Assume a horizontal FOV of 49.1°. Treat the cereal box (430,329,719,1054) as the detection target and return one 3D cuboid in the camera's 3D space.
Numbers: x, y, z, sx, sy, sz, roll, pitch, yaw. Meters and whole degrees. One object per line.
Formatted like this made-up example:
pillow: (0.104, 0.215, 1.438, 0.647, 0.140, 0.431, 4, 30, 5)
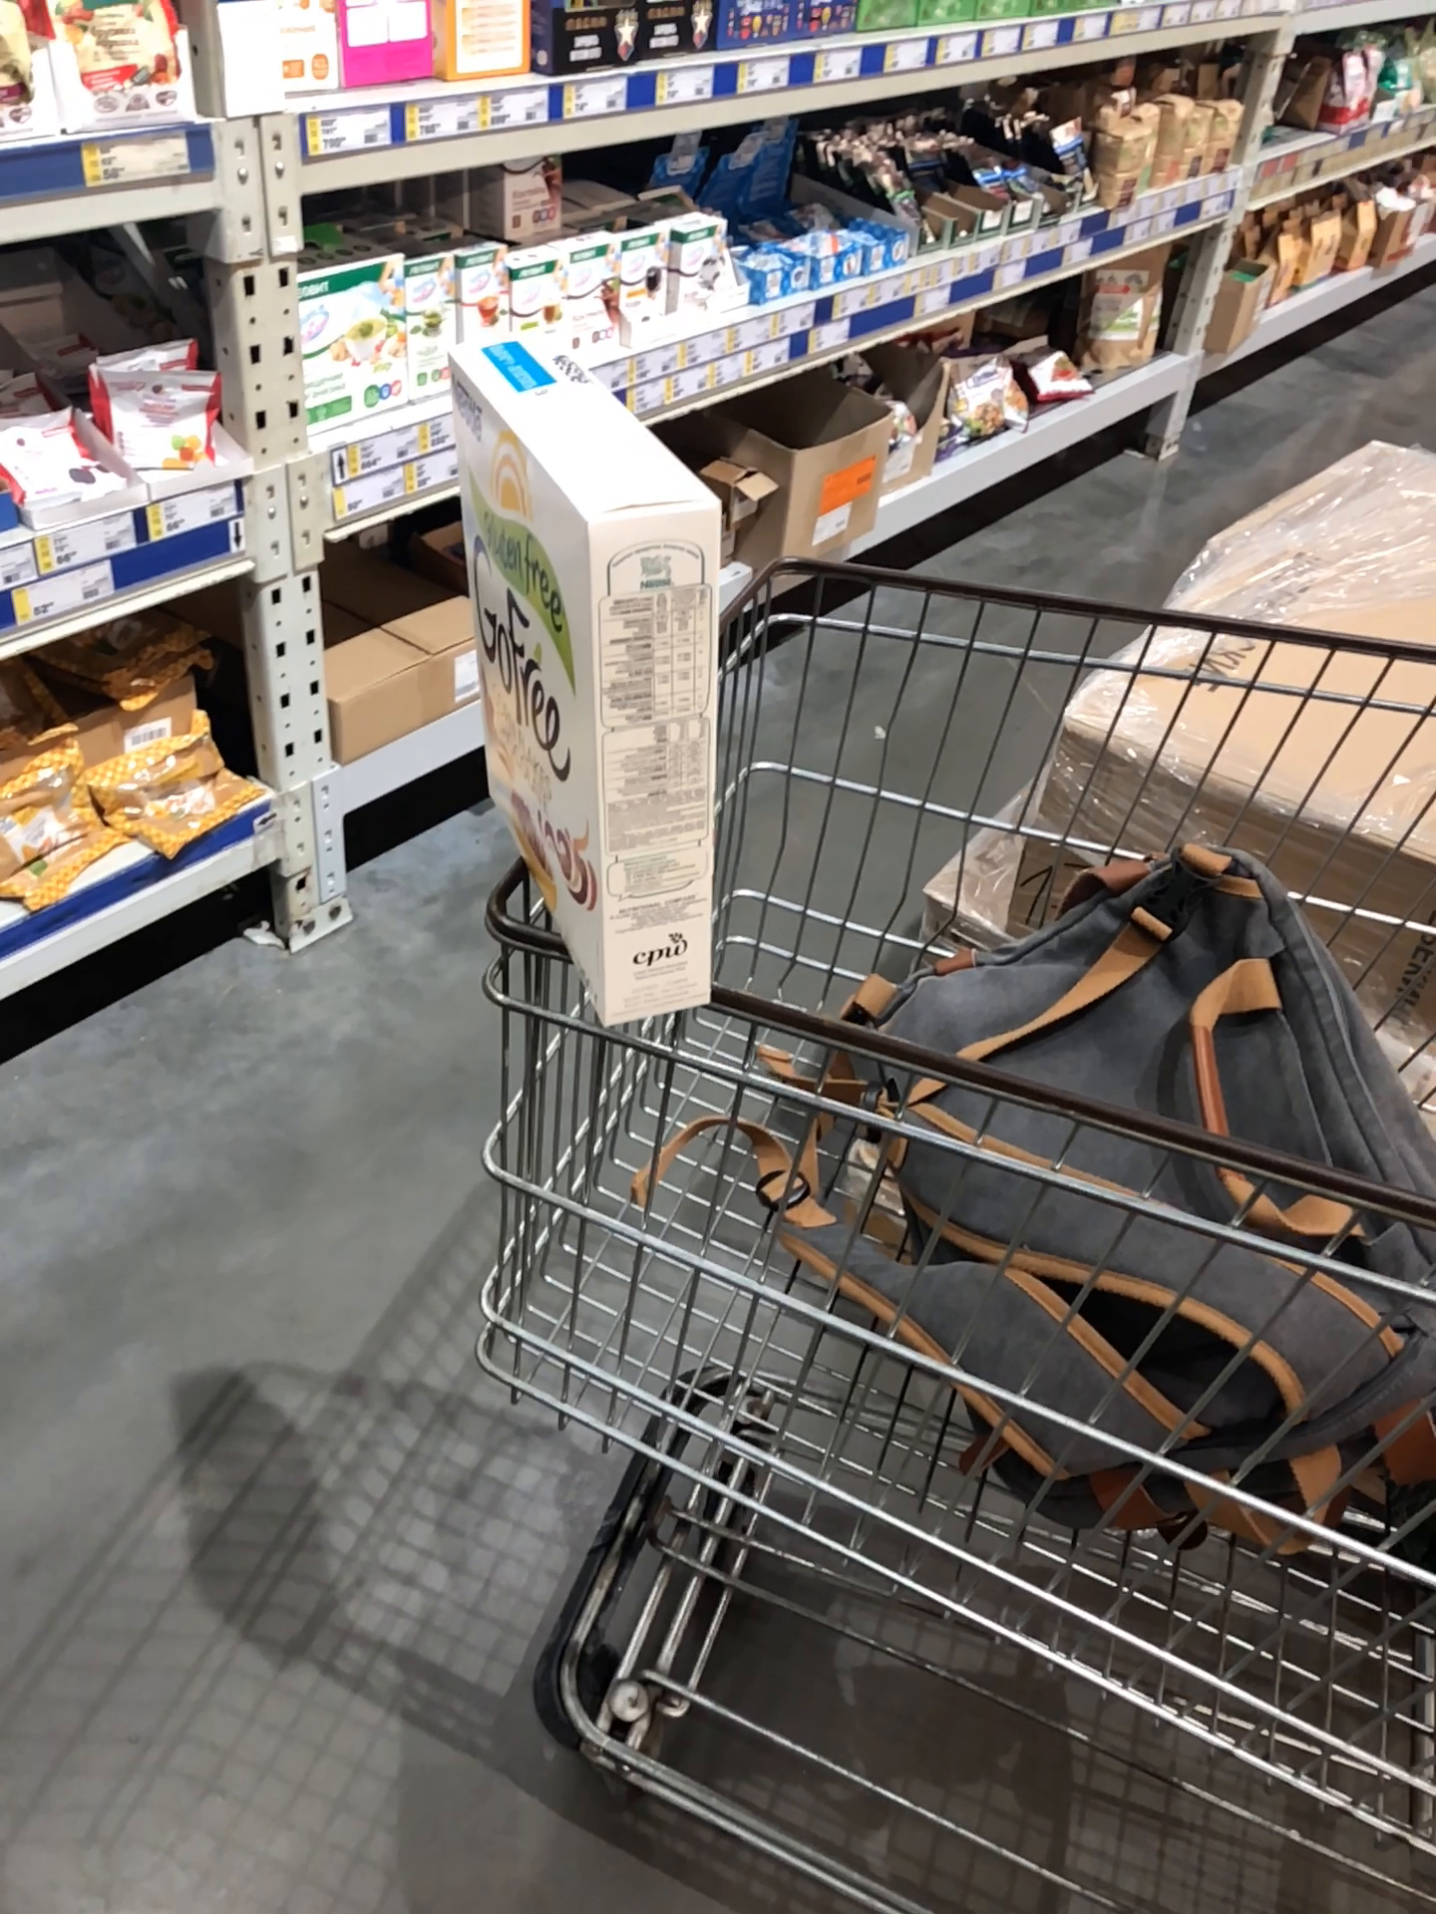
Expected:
cereal box: (-0.062, -0.114, 0.656, 0.050, 0.228, 0.201, -12, 40, -18)
